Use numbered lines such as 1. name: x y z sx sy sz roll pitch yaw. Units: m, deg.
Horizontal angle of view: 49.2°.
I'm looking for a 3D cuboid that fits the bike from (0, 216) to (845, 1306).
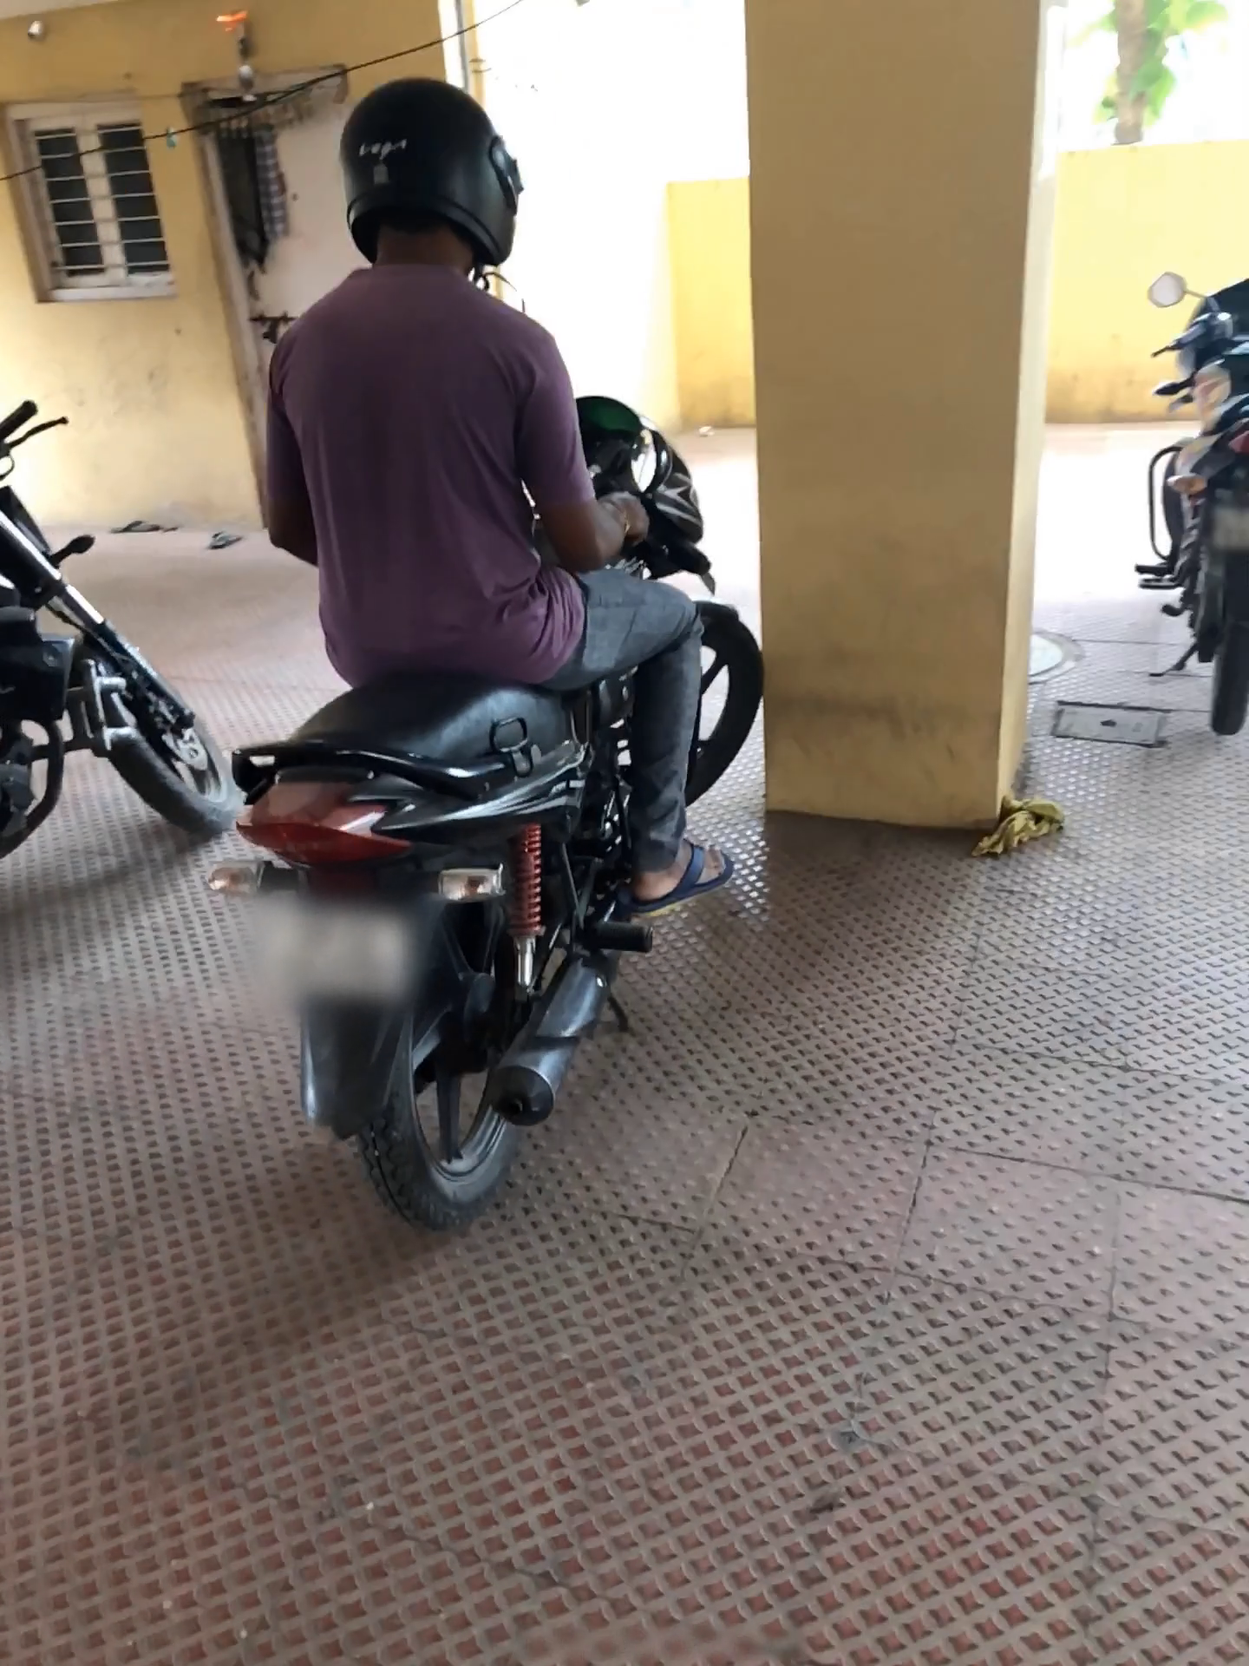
1. bike: -0.129 -0.303 2.386 0.632 1.063 1.653 6 33 21
